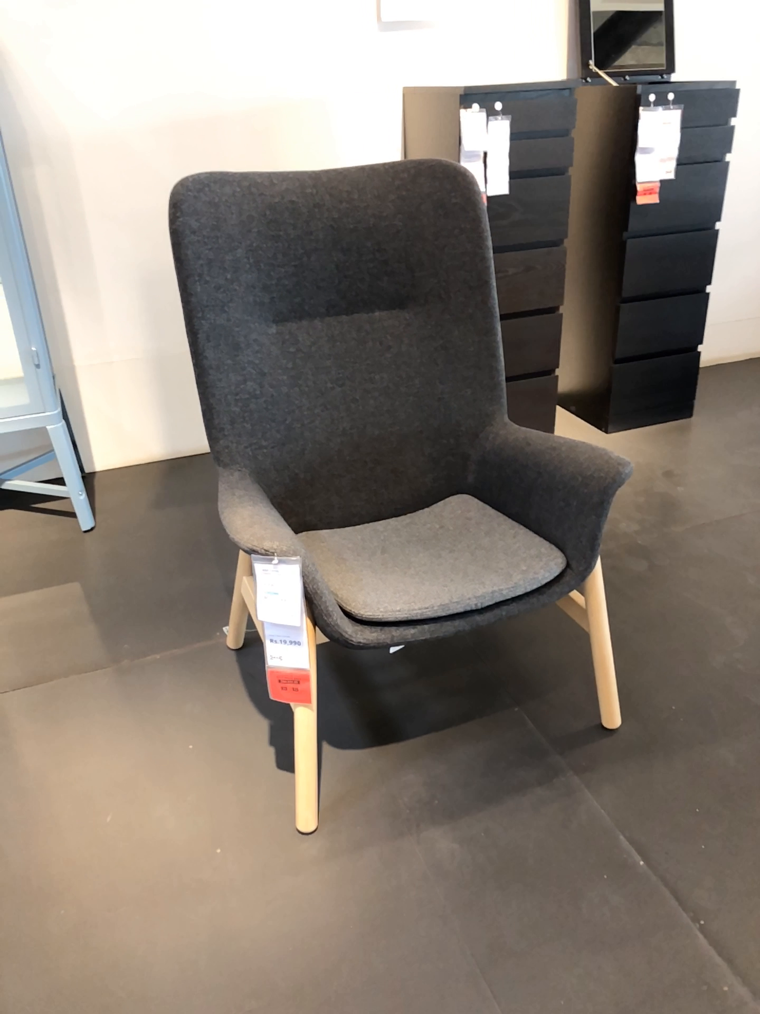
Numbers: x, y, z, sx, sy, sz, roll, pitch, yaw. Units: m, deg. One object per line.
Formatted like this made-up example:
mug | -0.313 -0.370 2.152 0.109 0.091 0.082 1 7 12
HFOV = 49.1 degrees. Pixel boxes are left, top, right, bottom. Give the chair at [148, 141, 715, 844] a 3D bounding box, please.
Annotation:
chair | 0.042 -0.103 1.633 0.721 1.063 0.714 -12 28 -18
